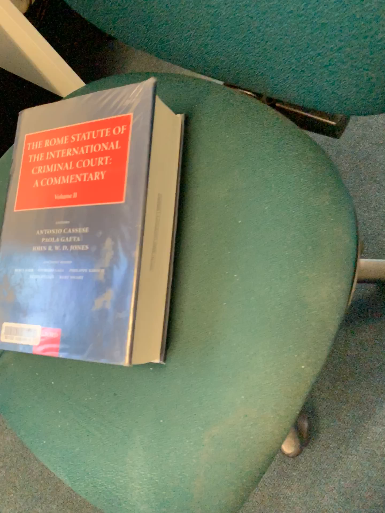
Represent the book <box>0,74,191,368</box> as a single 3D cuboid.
[{"bbox_3d":[-0.112,-0.031,0.397,0.189,0.070,0.256,-1,77,25],"label":"book"}]
